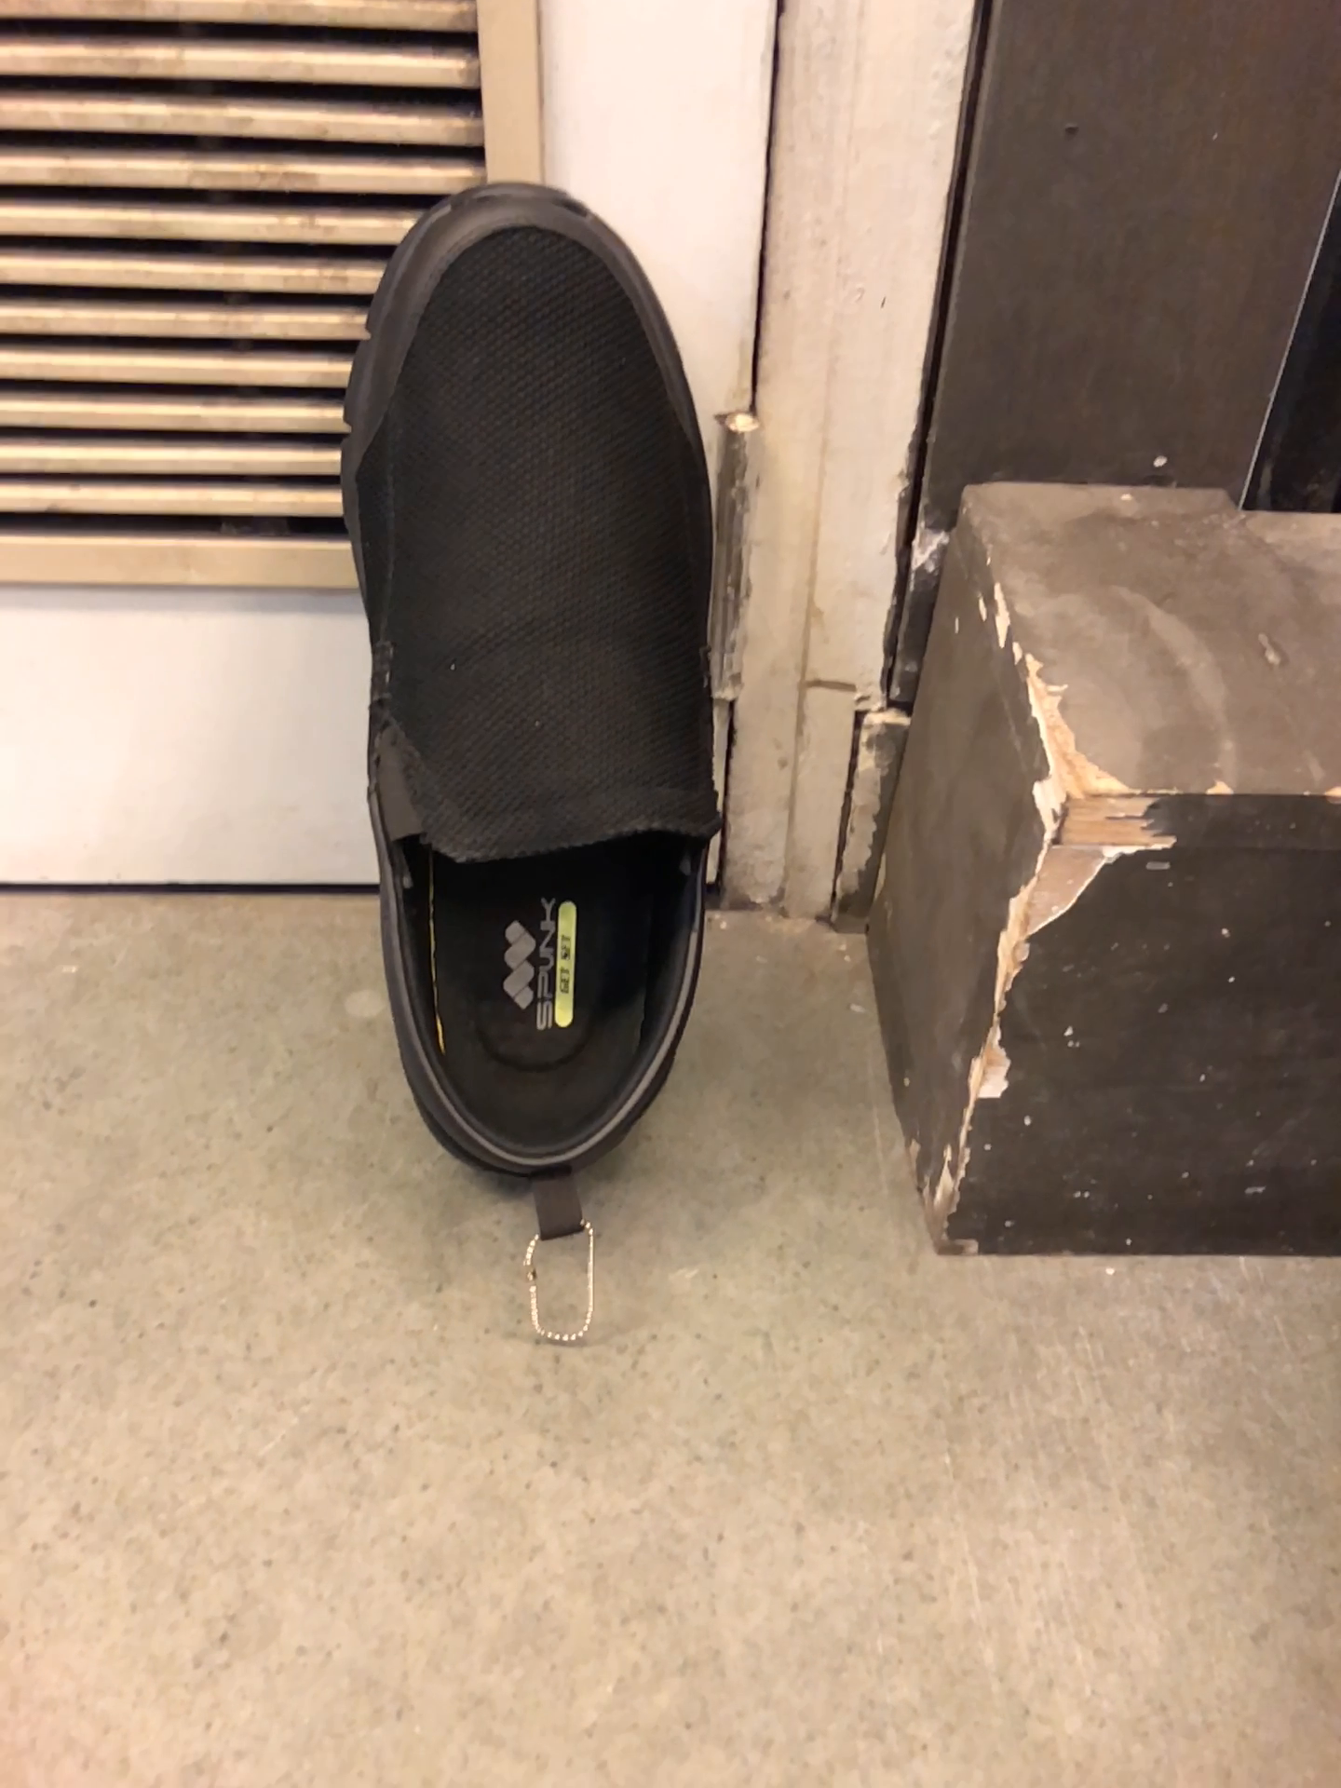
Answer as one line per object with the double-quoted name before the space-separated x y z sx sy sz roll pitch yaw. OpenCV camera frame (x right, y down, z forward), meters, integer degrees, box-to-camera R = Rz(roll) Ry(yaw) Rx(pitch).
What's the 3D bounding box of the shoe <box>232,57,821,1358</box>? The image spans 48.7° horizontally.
"shoe" -0.035 -0.046 0.406 0.111 0.291 0.127 -5 7 -5
